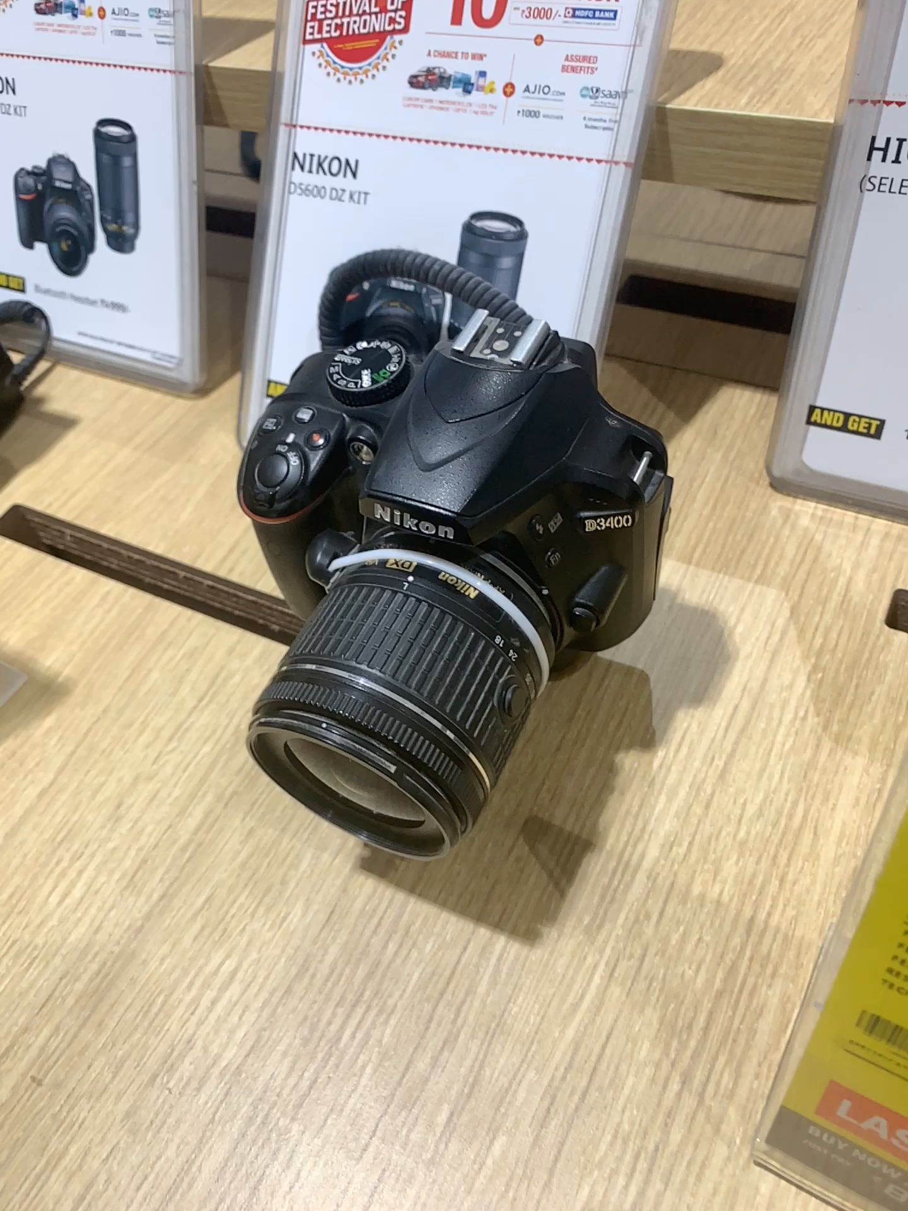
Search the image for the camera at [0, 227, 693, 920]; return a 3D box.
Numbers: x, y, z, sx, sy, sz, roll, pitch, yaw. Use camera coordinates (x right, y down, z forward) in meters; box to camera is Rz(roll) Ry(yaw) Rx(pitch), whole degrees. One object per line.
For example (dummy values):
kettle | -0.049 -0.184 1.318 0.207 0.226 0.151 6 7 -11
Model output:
camera | -0.017 -0.014 0.245 0.120 0.100 0.120 16 55 22
